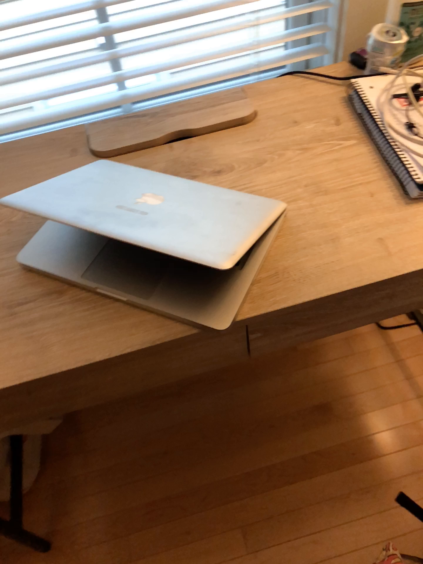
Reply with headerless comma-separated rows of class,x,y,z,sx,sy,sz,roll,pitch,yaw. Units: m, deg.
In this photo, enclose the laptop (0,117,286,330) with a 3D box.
laptop,-0.082,-0.091,0.600,0.300,0.082,0.210,17,57,19
